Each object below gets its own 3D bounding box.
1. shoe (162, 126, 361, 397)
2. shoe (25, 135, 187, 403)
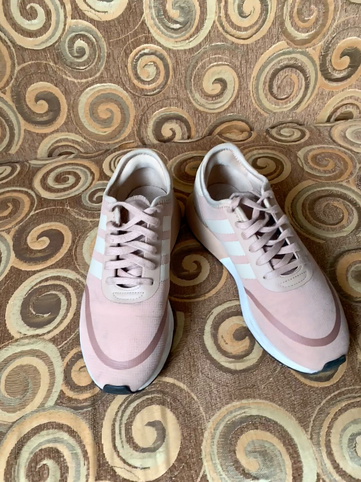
[{"bbox_3d":[0.084,0.008,0.380,0.100,0.090,0.251,-25,59,-12],"label":"shoe"},{"bbox_3d":[-0.052,0.015,0.372,0.100,0.090,0.251,2,57,5],"label":"shoe"}]
